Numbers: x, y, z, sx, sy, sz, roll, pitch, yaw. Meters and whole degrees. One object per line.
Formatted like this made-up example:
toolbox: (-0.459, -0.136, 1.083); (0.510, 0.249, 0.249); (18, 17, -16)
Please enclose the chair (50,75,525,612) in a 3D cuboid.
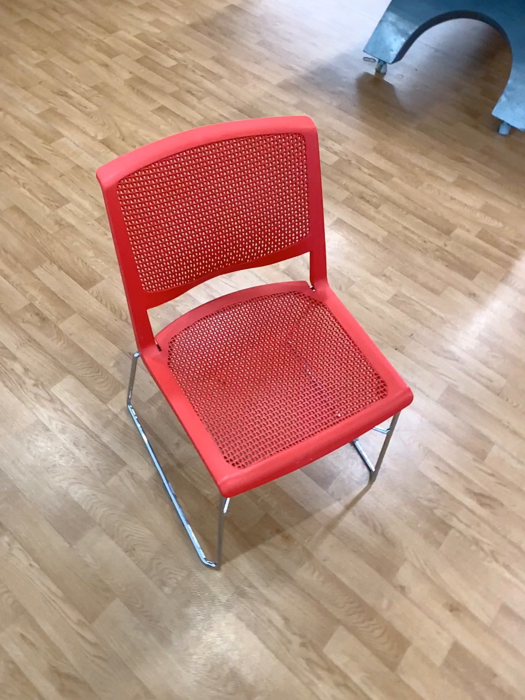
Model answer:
chair: (0.056, 0.005, 1.058); (0.601, 0.705, 0.593); (-23, 60, -22)
